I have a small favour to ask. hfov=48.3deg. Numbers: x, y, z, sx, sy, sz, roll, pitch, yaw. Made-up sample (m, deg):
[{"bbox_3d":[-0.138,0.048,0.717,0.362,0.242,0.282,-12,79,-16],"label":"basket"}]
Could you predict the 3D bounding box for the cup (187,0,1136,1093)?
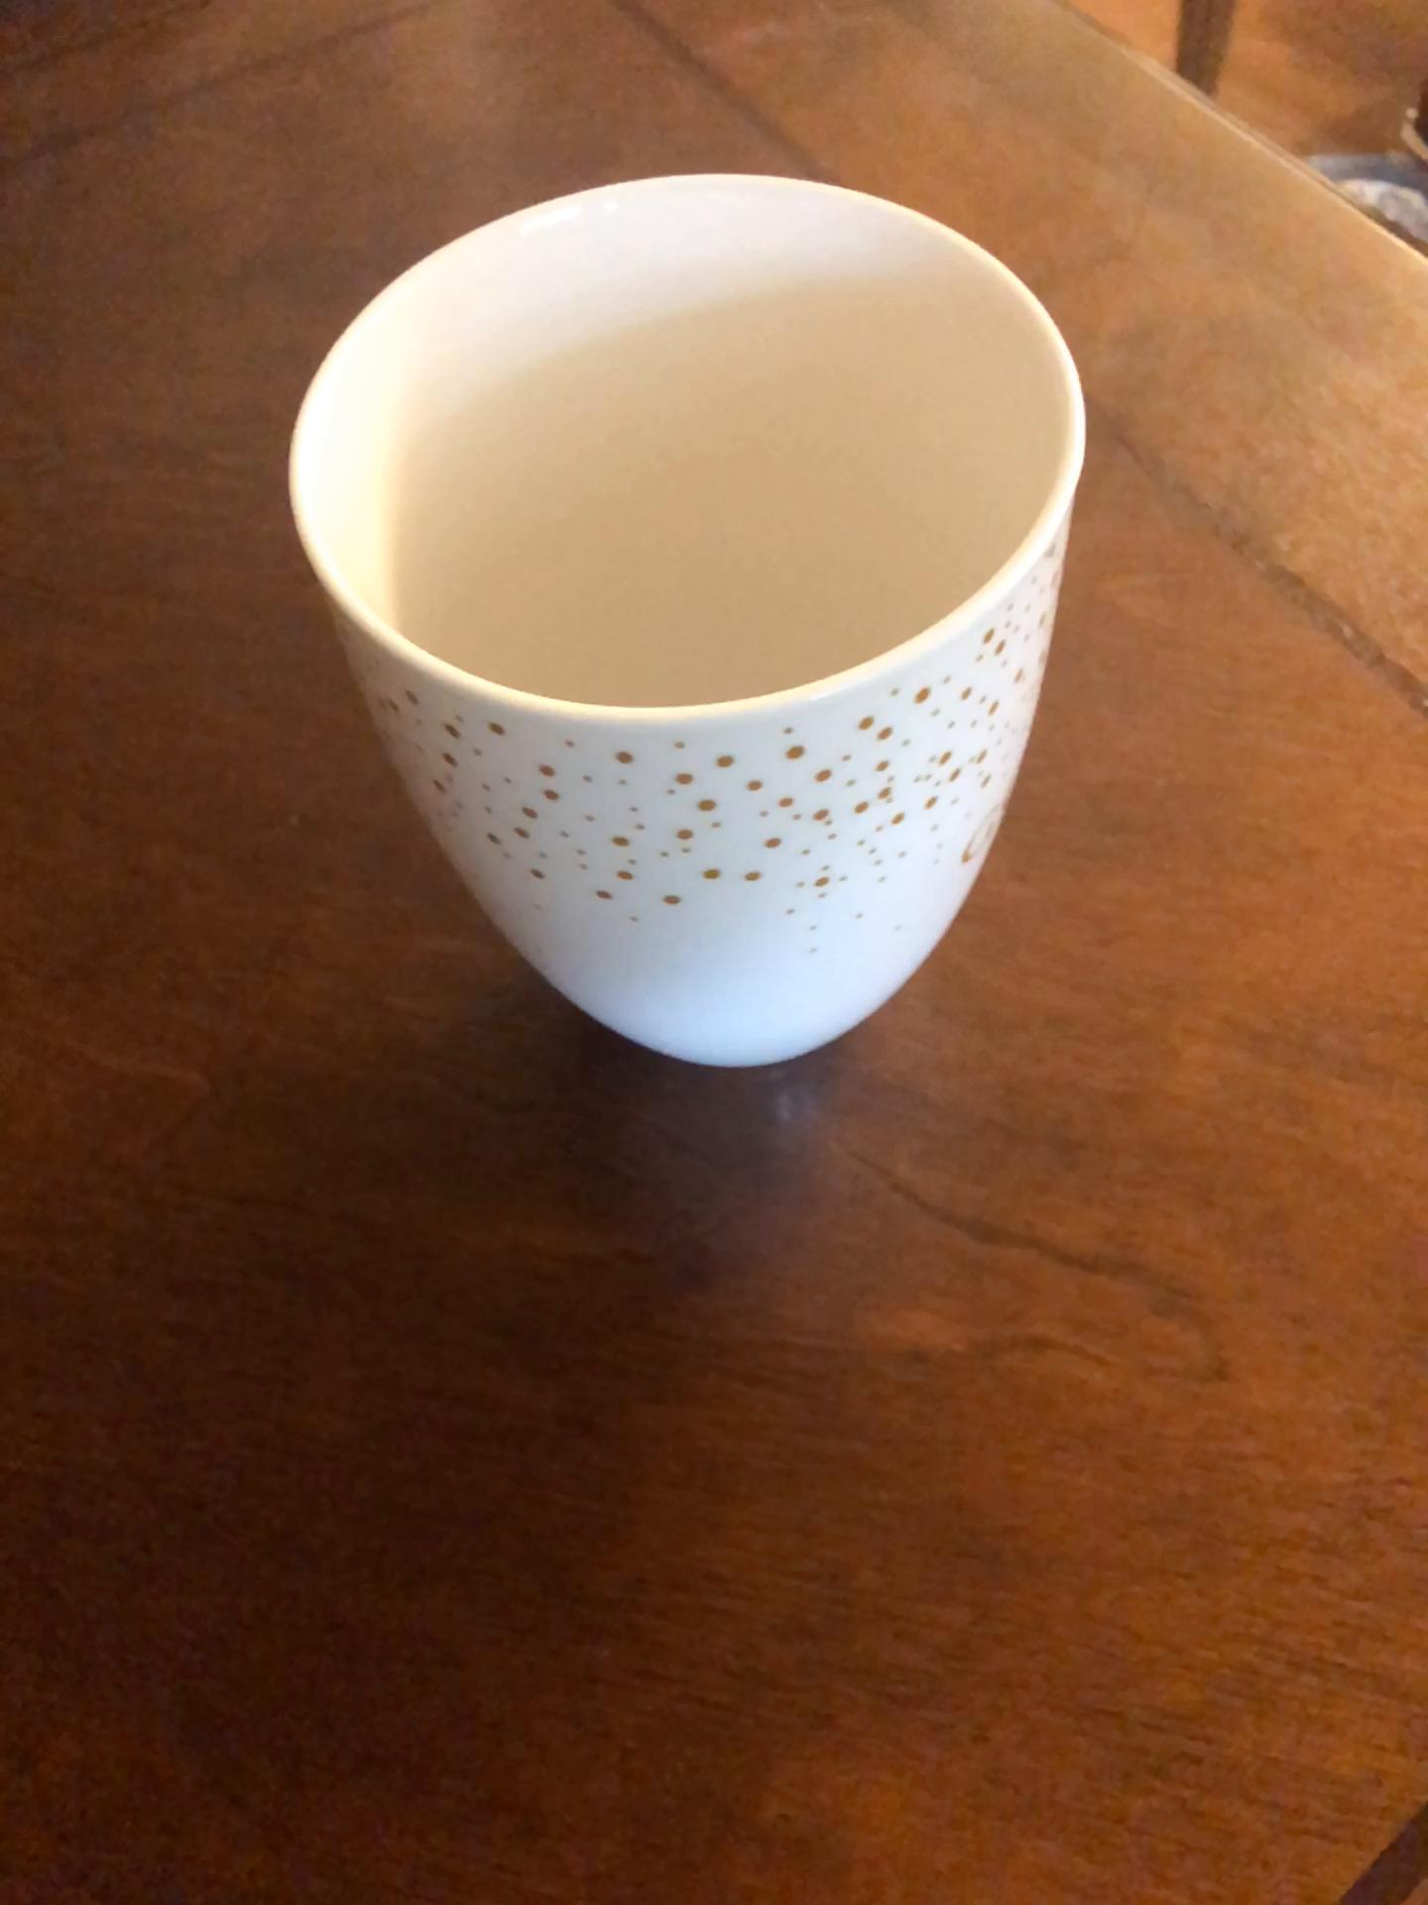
[{"bbox_3d":[0.003,-0.067,0.245,0.100,0.100,0.141,3,58,6],"label":"cup"}]
